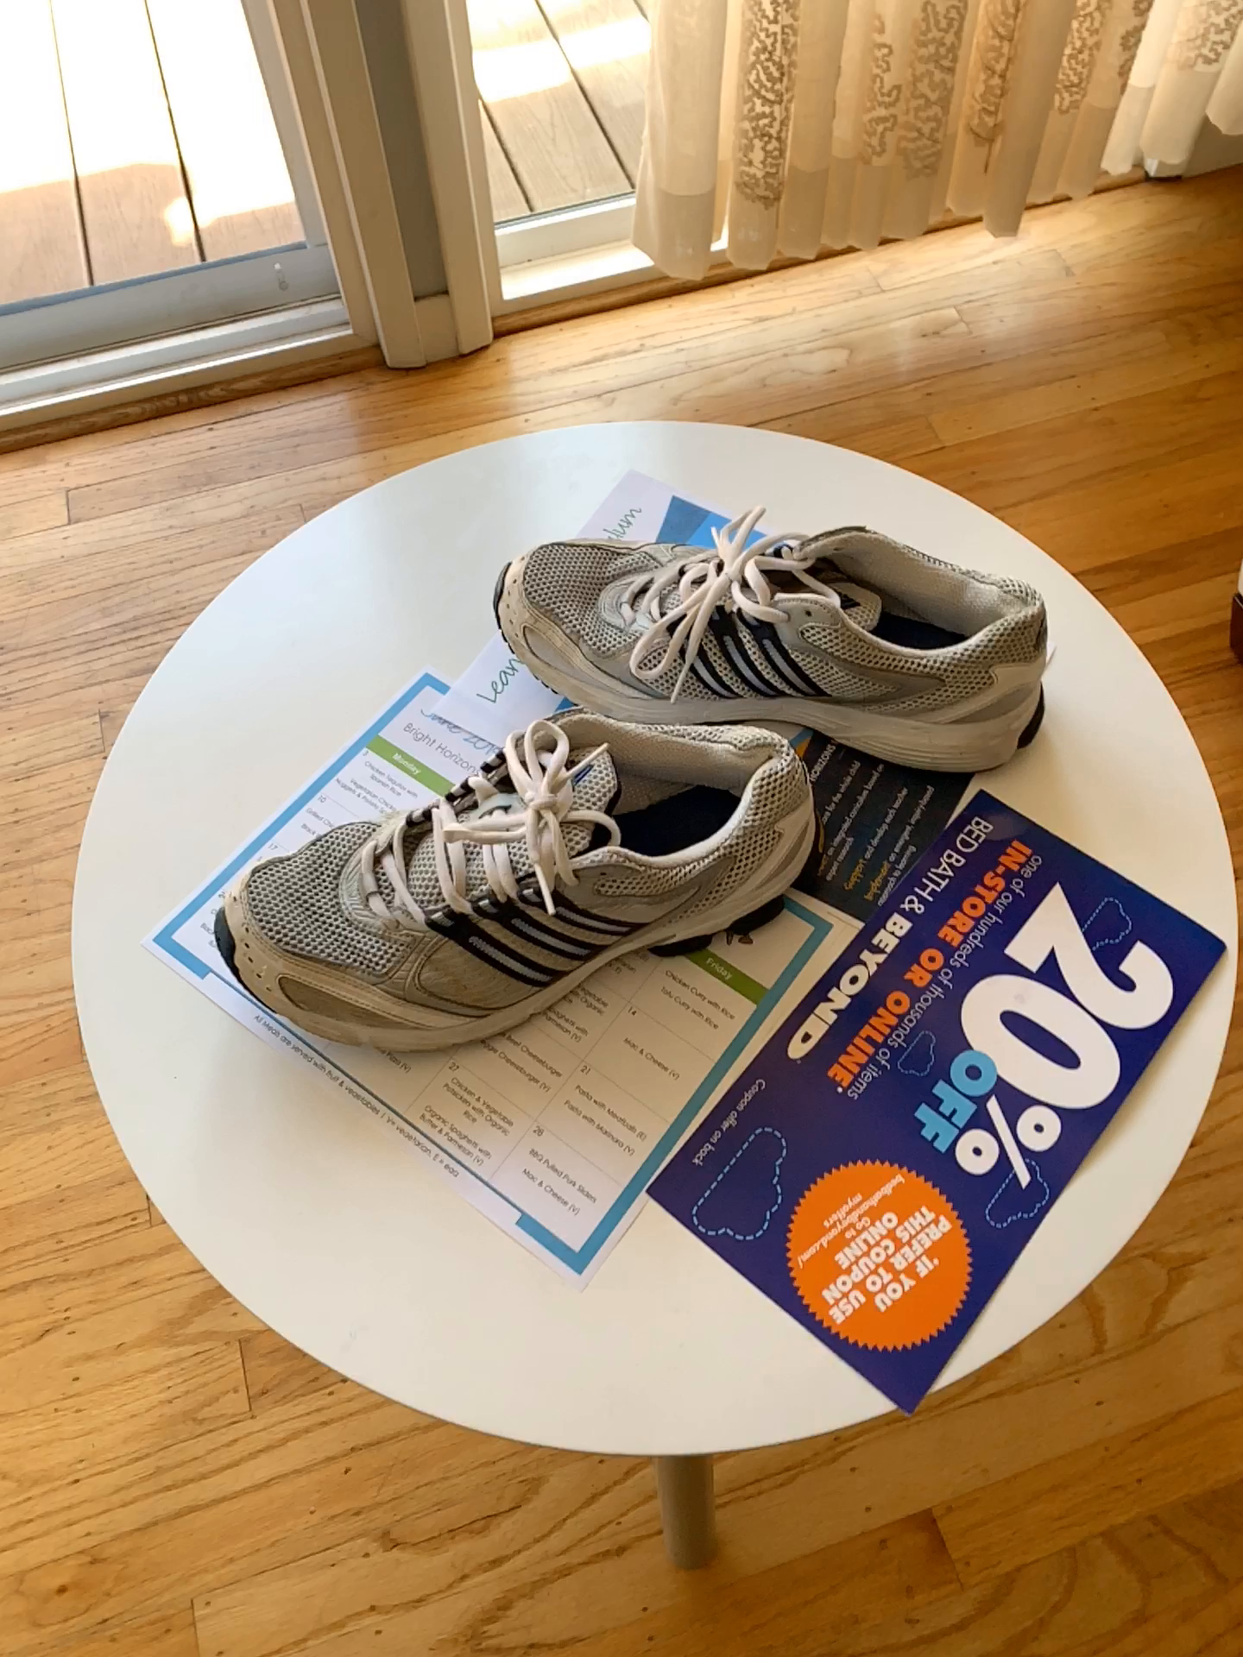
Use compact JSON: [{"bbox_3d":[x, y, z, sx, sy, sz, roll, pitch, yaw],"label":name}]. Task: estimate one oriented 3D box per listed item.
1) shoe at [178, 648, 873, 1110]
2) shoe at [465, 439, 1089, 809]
[{"bbox_3d":[-0.044,0.021,0.585,0.280,0.080,0.120,-15,60,-7],"label":"shoe"},{"bbox_3d":[0.076,-0.105,0.641,0.280,0.080,0.110,12,61,9],"label":"shoe"}]
